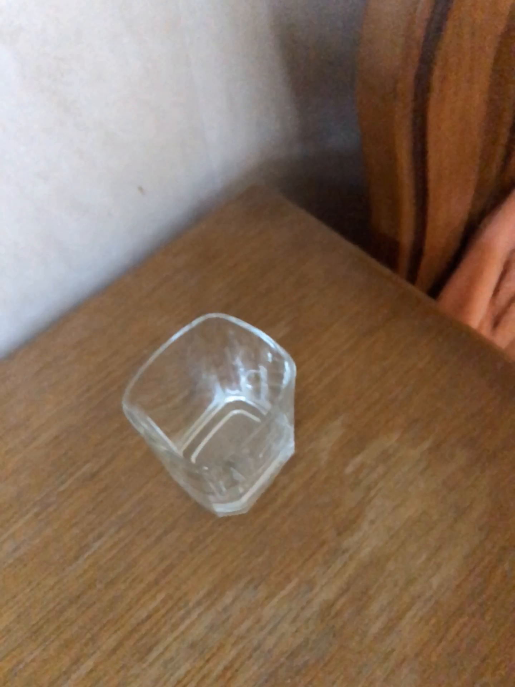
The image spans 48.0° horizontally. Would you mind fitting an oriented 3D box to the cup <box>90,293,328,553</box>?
[{"bbox_3d":[-0.017,0.037,0.267,0.070,0.070,0.070,-3,55,5],"label":"cup"}]
